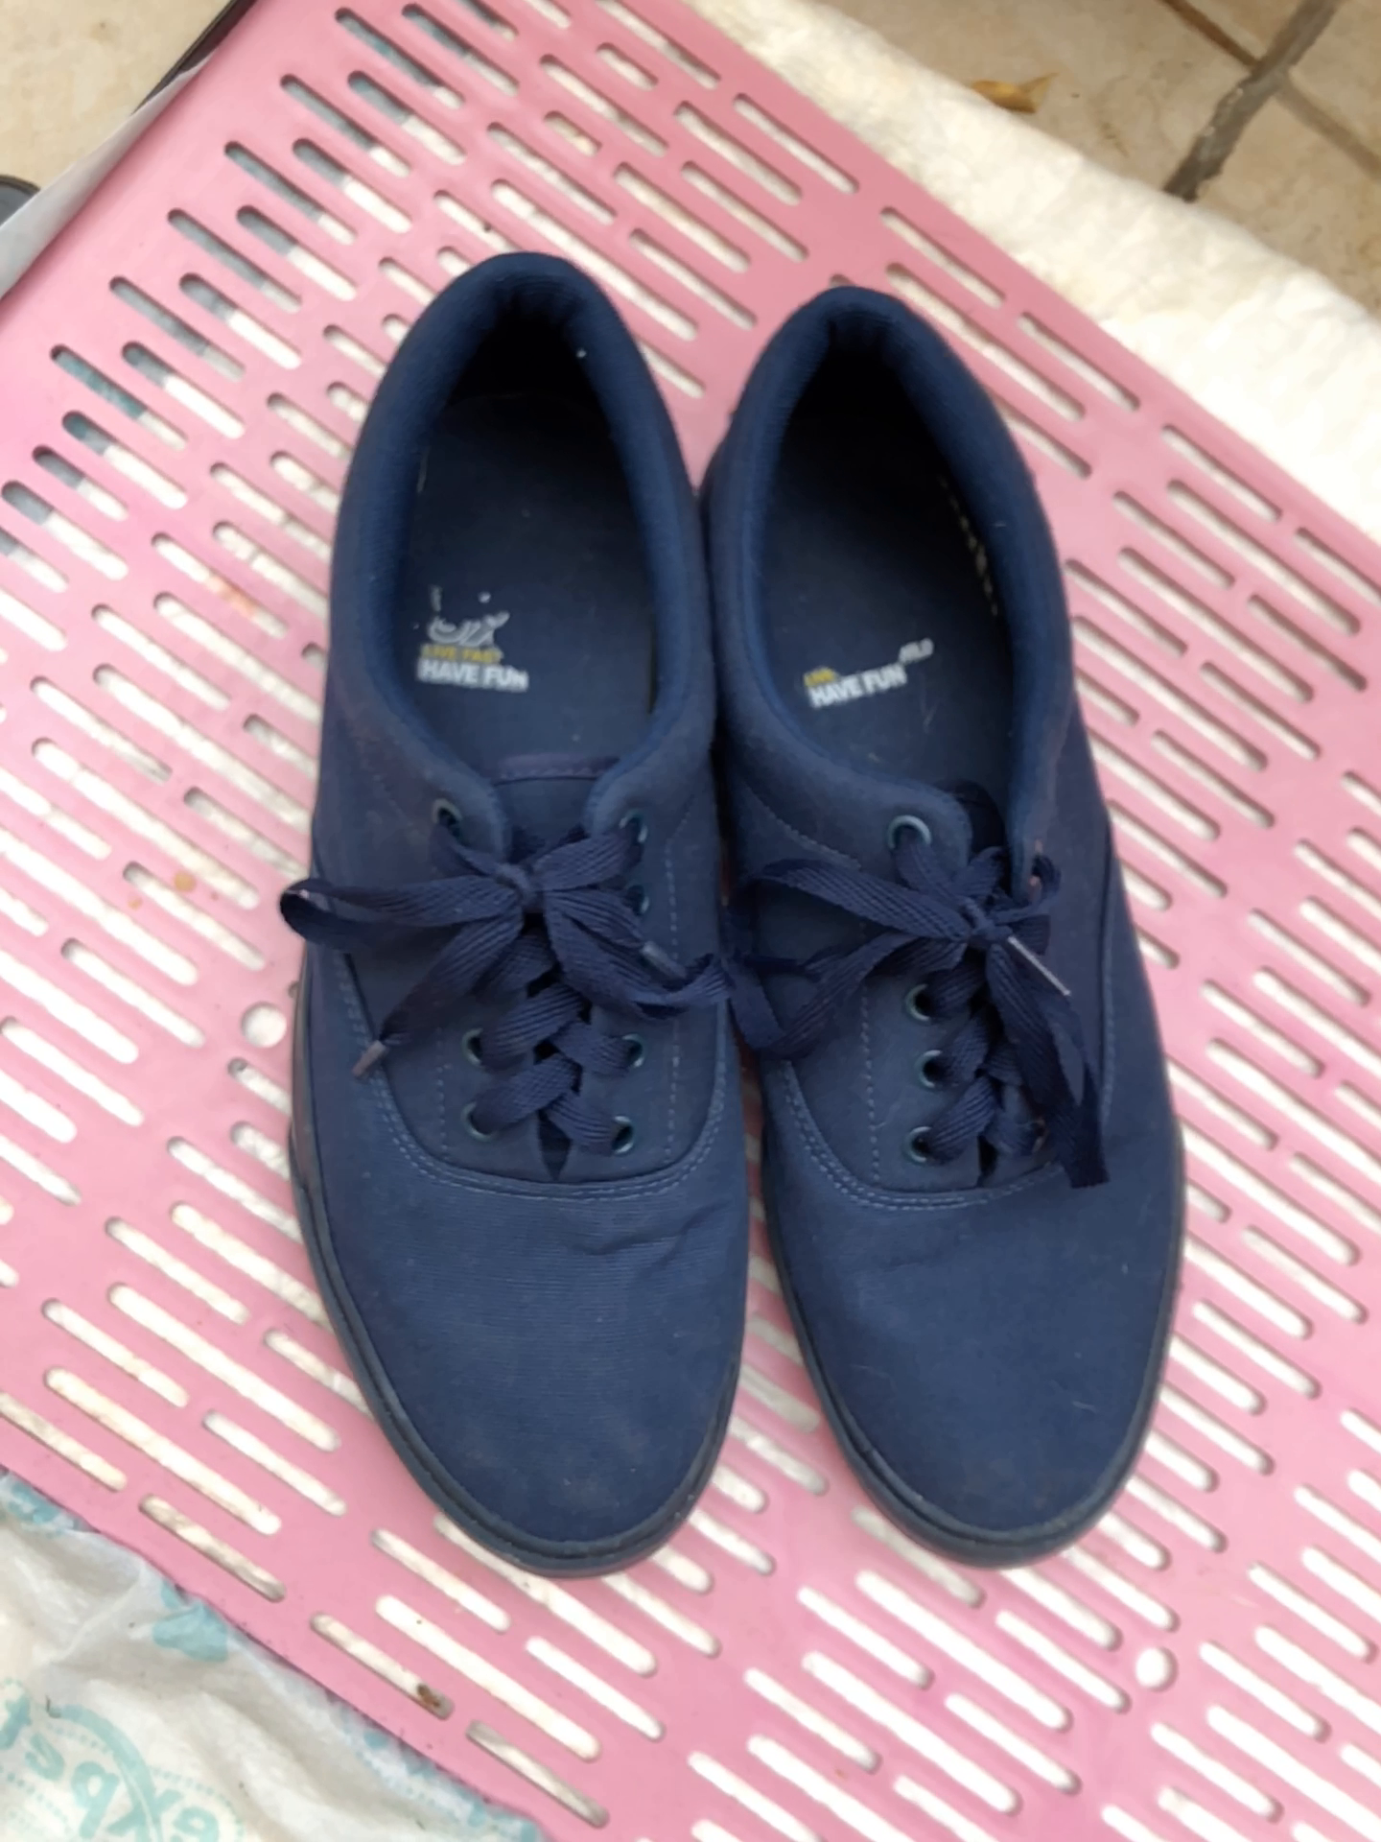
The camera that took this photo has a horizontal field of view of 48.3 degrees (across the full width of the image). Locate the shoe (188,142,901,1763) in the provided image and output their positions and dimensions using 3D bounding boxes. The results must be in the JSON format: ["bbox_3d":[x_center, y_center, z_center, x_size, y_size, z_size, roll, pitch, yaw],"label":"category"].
[{"bbox_3d":[-0.032,0.001,0.312,0.107,0.100,0.270,-3,85,-7],"label":"shoe"}]

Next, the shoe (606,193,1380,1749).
[{"bbox_3d":[0.060,0.005,0.330,0.107,0.100,0.270,-9,86,-8],"label":"shoe"}]
